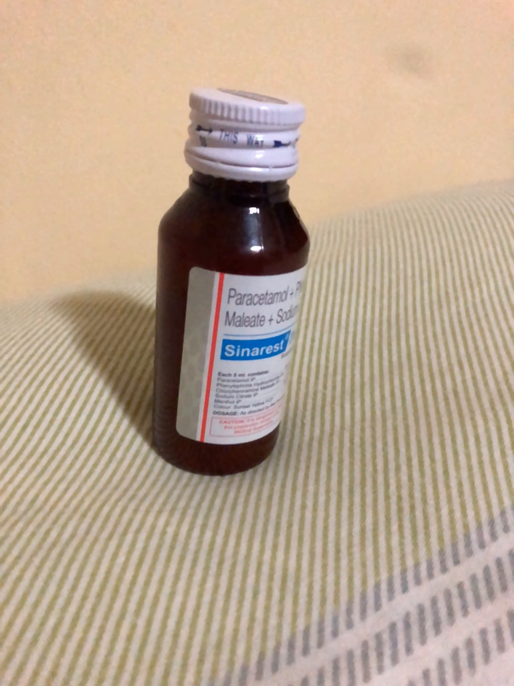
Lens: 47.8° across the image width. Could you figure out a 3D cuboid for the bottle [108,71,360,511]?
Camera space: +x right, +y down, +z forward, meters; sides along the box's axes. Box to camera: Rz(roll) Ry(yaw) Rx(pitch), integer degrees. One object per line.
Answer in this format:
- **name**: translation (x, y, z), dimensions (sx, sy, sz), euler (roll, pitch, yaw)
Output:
- **bottle**: translation (-0.010, -0.013, 0.153), dimensions (0.040, 0.100, 0.040), euler (5, 28, -3)
